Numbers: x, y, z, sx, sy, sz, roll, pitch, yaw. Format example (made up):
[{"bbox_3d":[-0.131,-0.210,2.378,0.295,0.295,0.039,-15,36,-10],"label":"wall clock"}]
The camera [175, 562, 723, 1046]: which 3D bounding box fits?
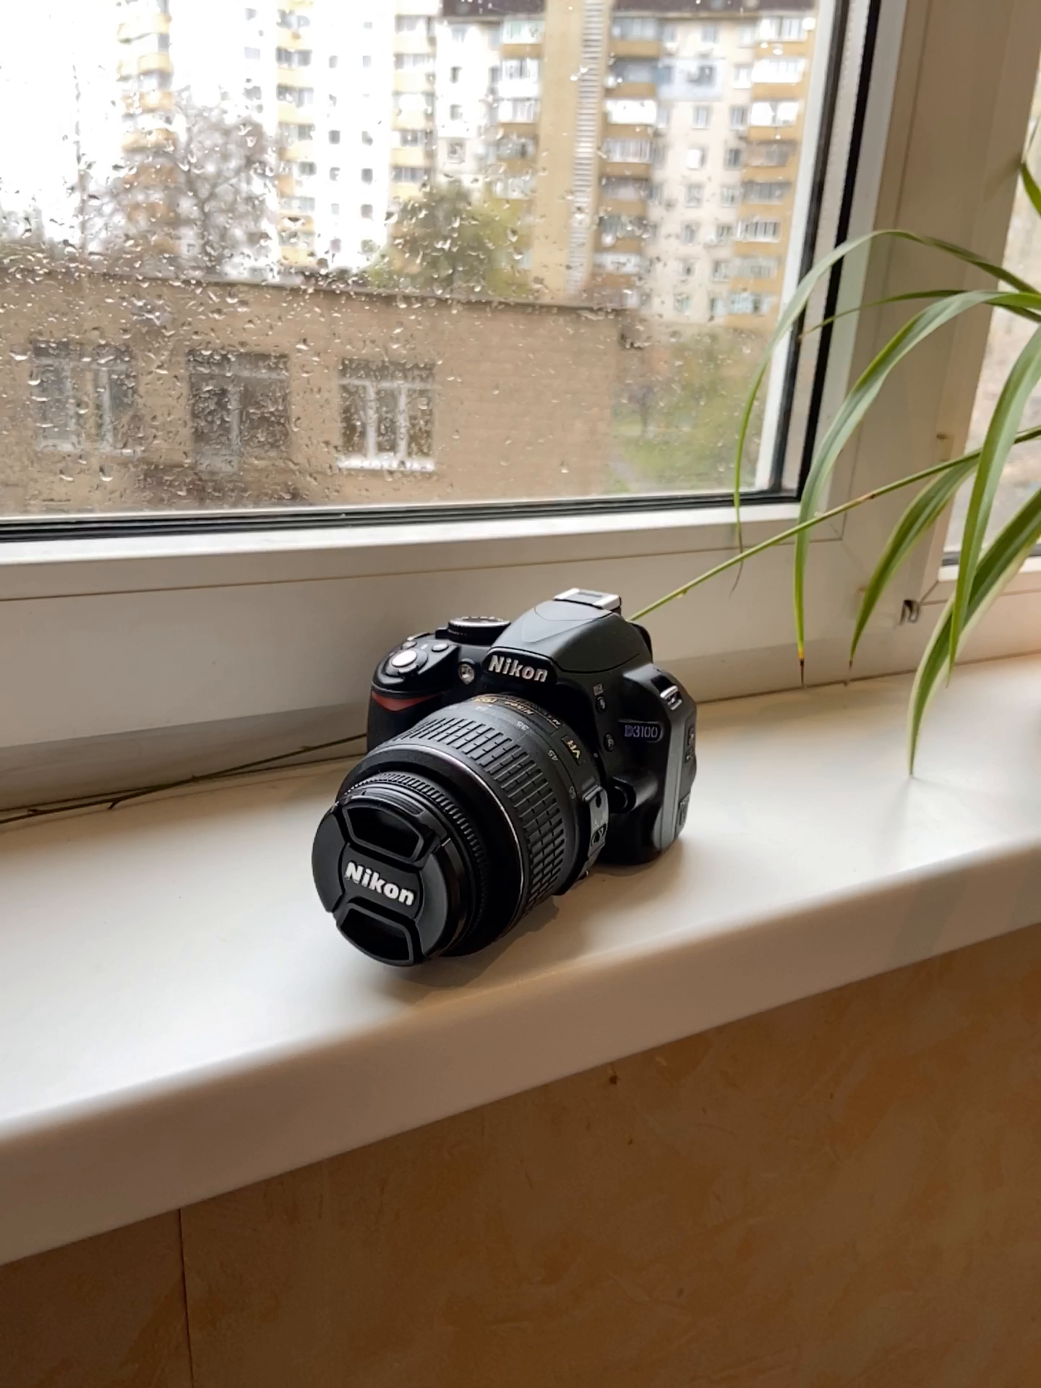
[{"bbox_3d":[-0.017,0.022,0.382,0.121,0.092,0.159,13,22,25],"label":"camera"}]
